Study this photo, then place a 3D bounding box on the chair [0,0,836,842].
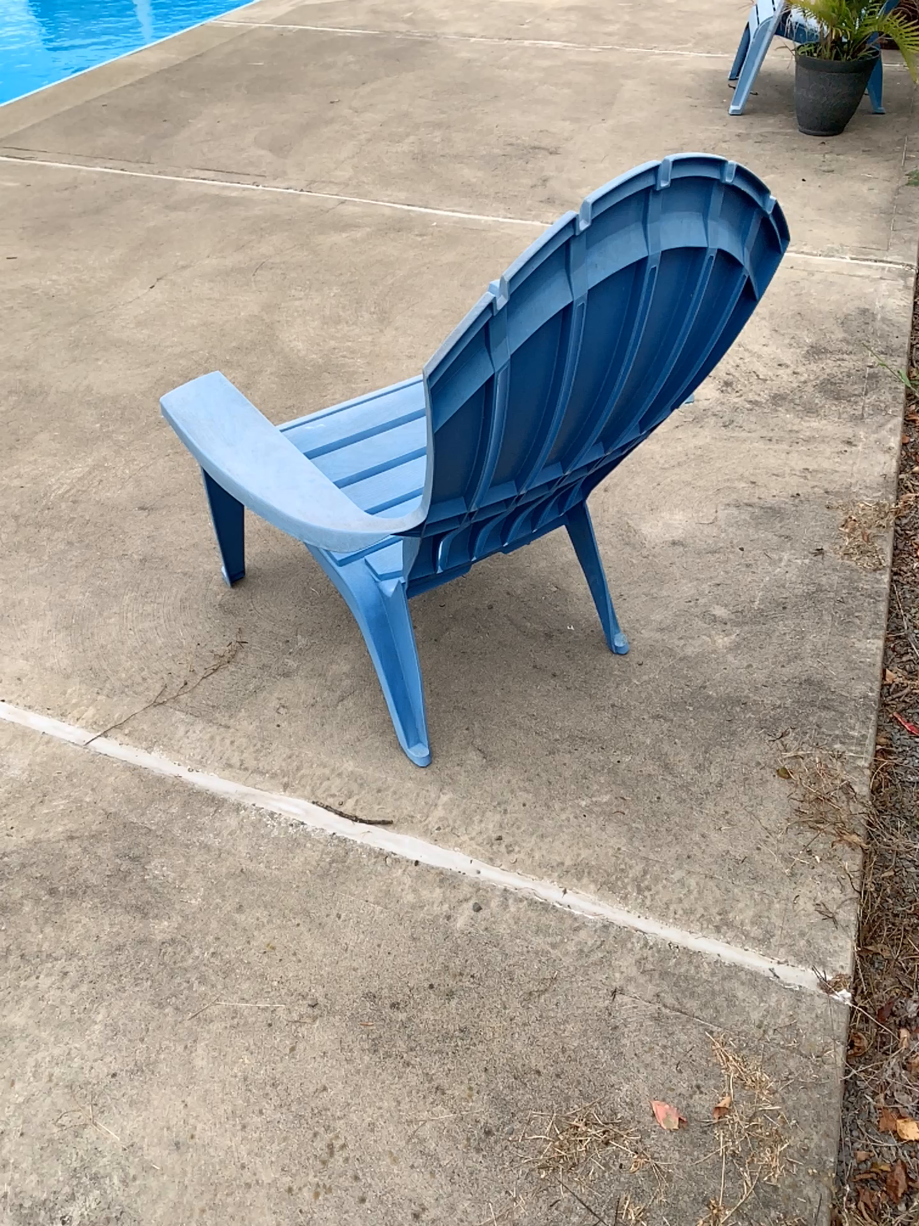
[{"bbox_3d":[-0.084,-0.353,1.400,0.701,0.885,0.763,-26,47,-23],"label":"chair"}]
